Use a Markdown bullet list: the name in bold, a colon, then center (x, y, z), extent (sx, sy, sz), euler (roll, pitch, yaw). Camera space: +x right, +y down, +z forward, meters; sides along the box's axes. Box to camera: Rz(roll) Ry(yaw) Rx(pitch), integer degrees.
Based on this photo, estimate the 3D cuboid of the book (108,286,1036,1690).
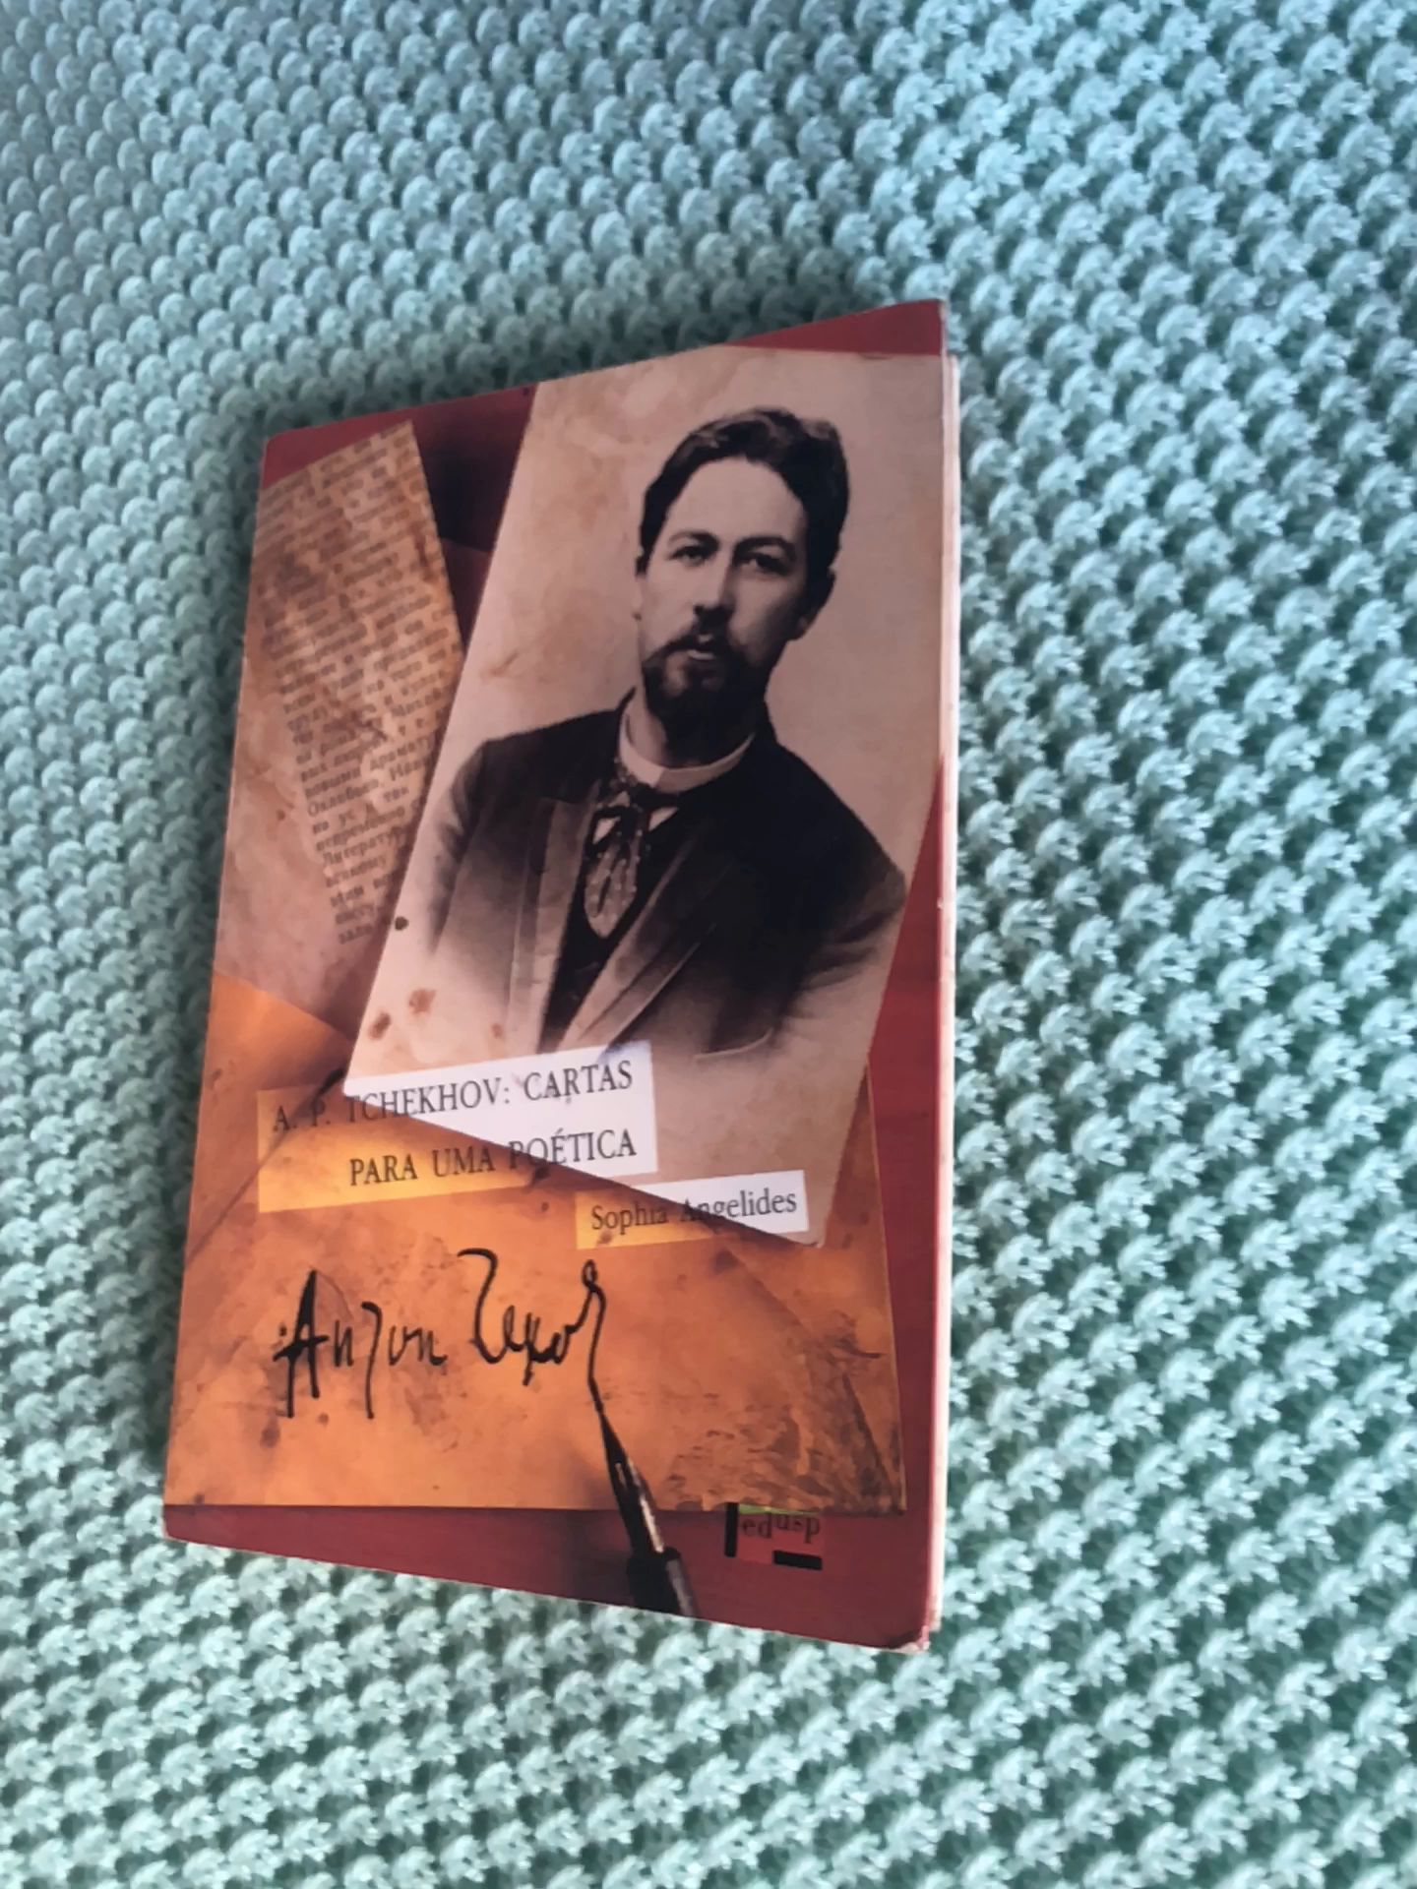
- **book**: center (-0.023, 0.004, 0.273), extent (0.150, 0.030, 0.210), euler (-2, 80, 19)
